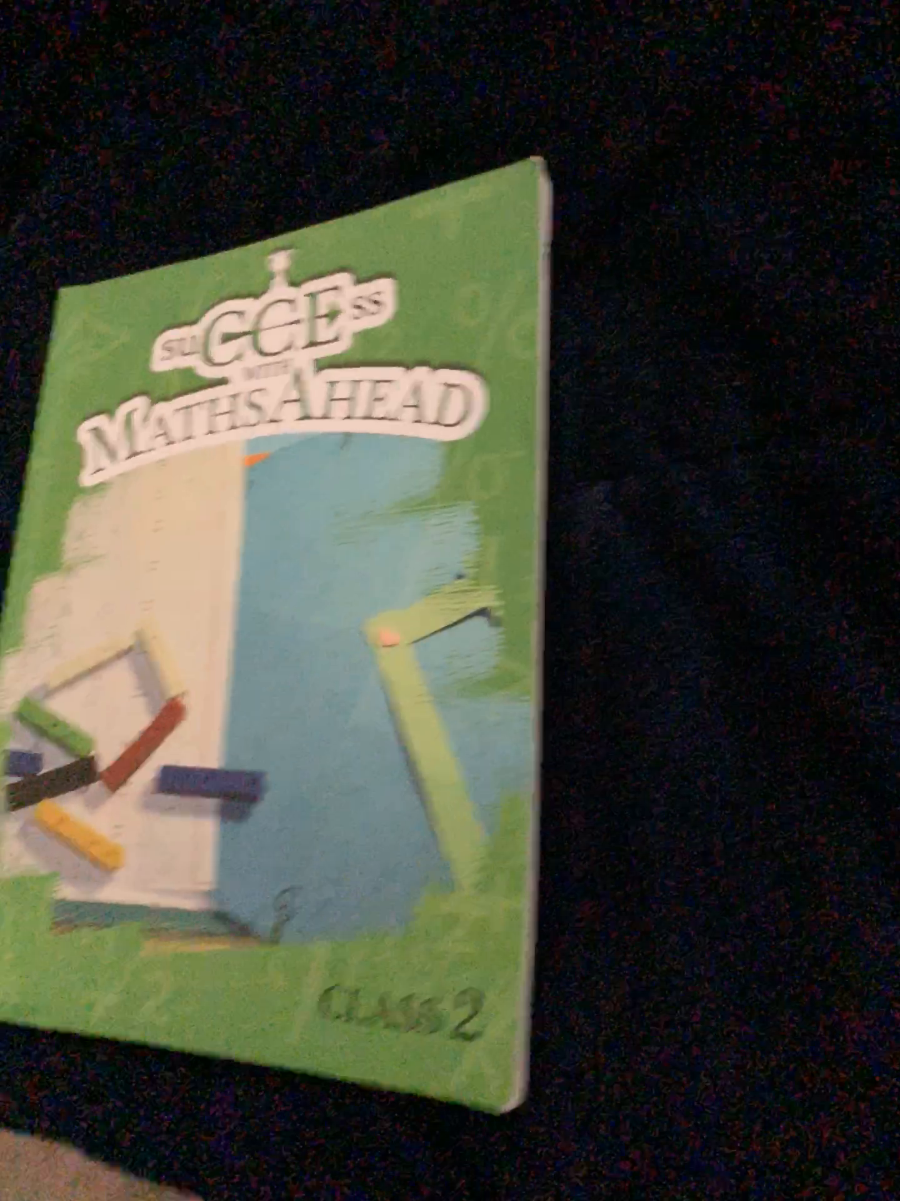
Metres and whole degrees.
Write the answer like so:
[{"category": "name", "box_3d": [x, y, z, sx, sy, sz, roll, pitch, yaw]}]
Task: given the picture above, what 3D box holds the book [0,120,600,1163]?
[{"category": "book", "box_3d": [-0.067, 0.003, 0.304, 0.231, 0.020, 0.280, -3, 77, 24]}]
